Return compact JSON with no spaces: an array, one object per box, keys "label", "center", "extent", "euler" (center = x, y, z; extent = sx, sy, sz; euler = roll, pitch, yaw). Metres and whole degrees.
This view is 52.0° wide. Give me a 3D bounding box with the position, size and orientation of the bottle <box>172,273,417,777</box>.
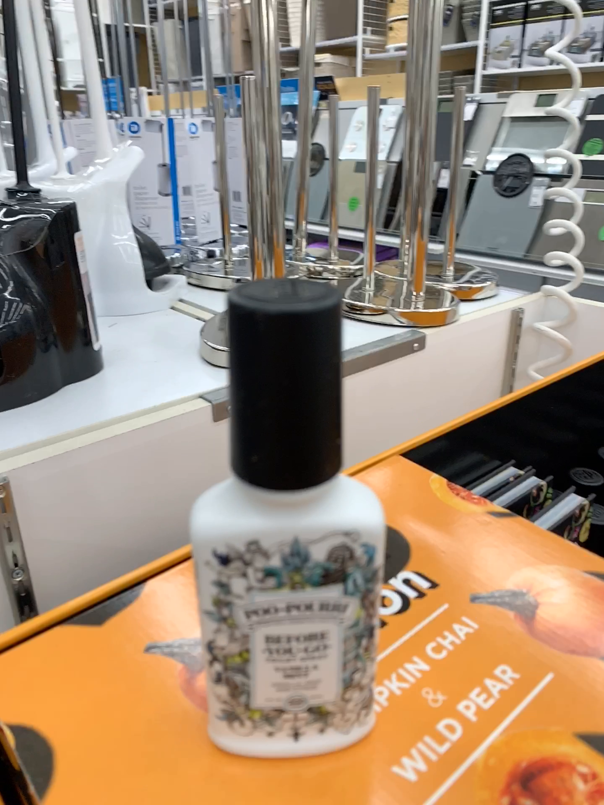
[{"label":"bottle","center":[-0.002,0.042,0.184],"extent":[0.055,0.151,0.033],"euler":[-3,24,-5]}]
